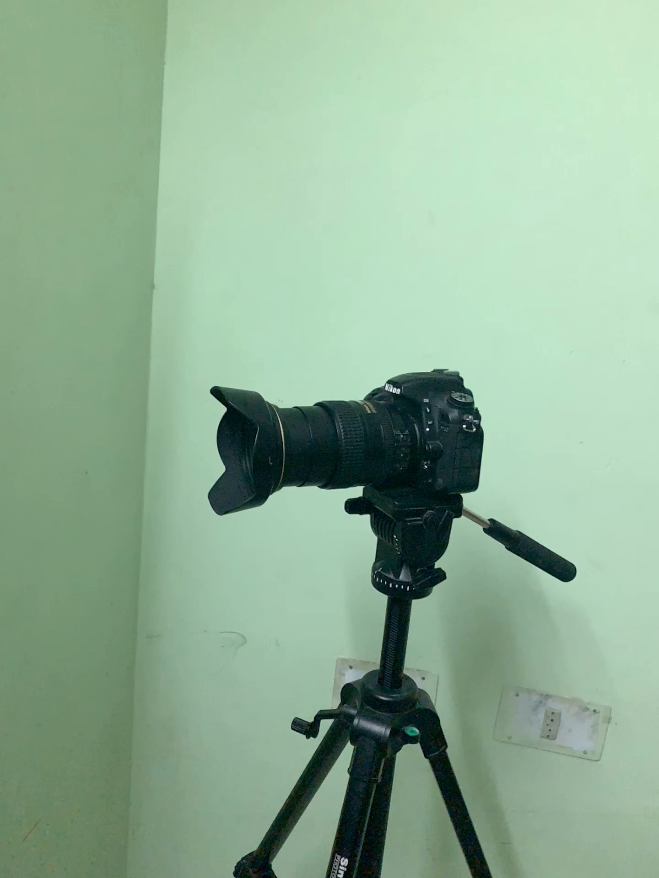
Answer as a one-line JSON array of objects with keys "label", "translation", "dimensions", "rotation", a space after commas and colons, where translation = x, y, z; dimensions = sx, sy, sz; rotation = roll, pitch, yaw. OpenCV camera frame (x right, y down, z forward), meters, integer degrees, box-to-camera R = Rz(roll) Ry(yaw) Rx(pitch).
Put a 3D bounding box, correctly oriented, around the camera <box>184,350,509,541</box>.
[{"label": "camera", "translation": [0.009, -0.004, 0.641], "dimensions": [0.250, 0.132, 0.164], "rotation": [0, 13, -26]}]
